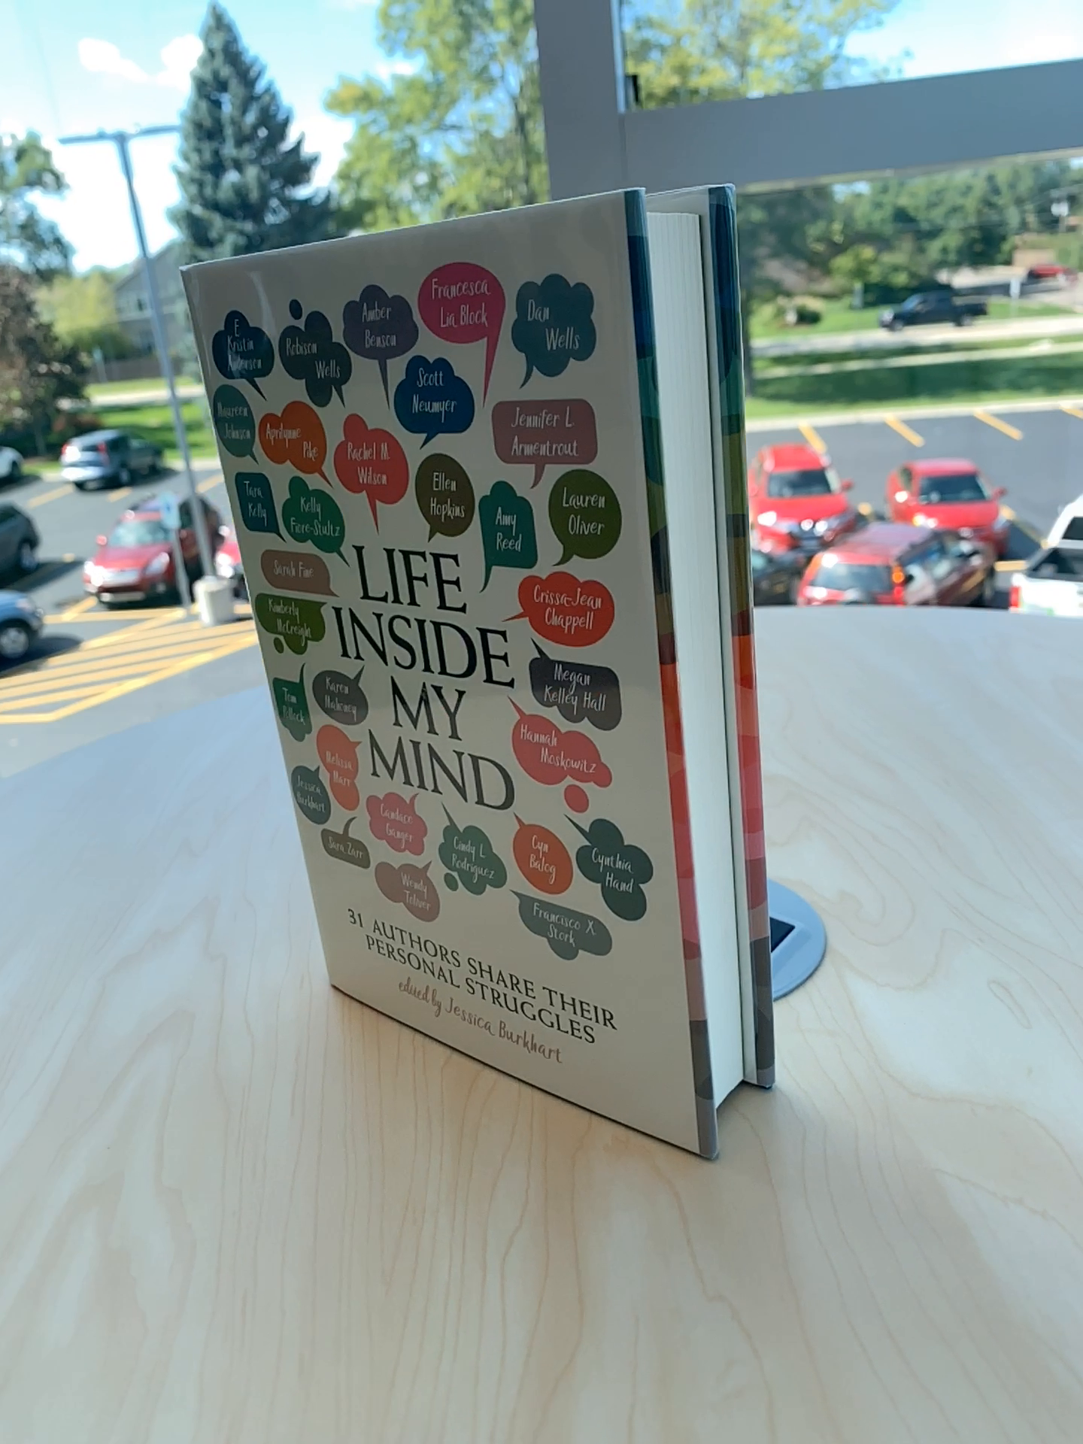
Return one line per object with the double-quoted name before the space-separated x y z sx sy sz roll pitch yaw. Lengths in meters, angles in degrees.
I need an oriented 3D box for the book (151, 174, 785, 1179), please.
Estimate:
"book" -0.017 -0.008 0.285 0.150 0.218 0.030 11 29 38
